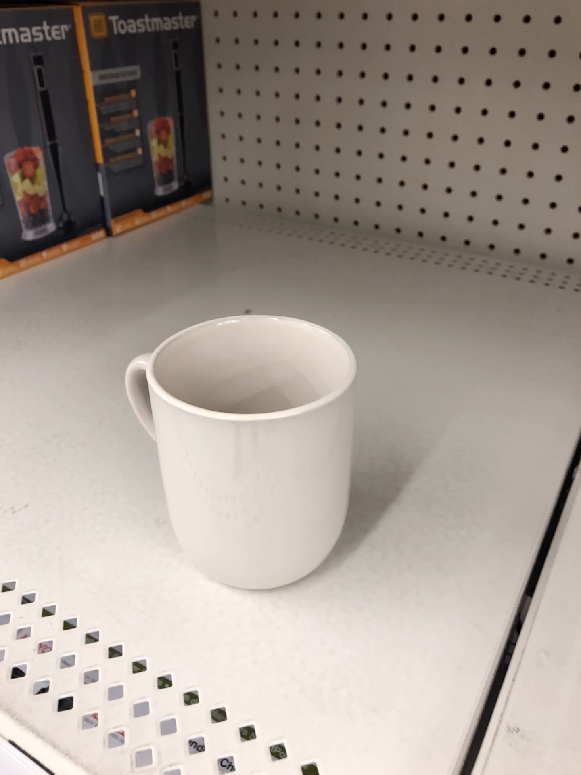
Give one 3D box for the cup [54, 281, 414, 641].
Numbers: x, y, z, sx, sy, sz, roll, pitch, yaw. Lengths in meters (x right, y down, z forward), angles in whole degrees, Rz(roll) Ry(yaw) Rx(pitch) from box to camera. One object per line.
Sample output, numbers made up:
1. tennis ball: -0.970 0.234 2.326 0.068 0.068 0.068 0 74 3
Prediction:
1. cup: -0.024 0.022 0.288 0.122 0.090 0.086 22 36 32
